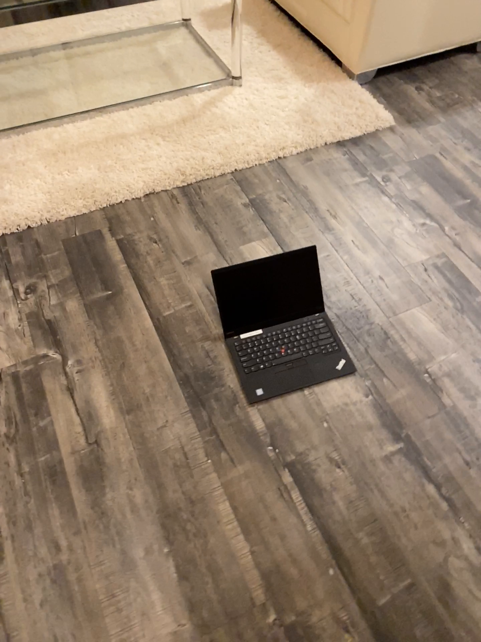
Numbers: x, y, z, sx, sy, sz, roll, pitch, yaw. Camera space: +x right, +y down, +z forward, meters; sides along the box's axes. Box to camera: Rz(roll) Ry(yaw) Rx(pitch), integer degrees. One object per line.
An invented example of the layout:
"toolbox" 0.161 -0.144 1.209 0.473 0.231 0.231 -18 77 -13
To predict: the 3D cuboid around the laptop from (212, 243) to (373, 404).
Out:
"laptop" 0.128 -0.003 1.374 0.319 0.149 0.356 -15 60 -13
